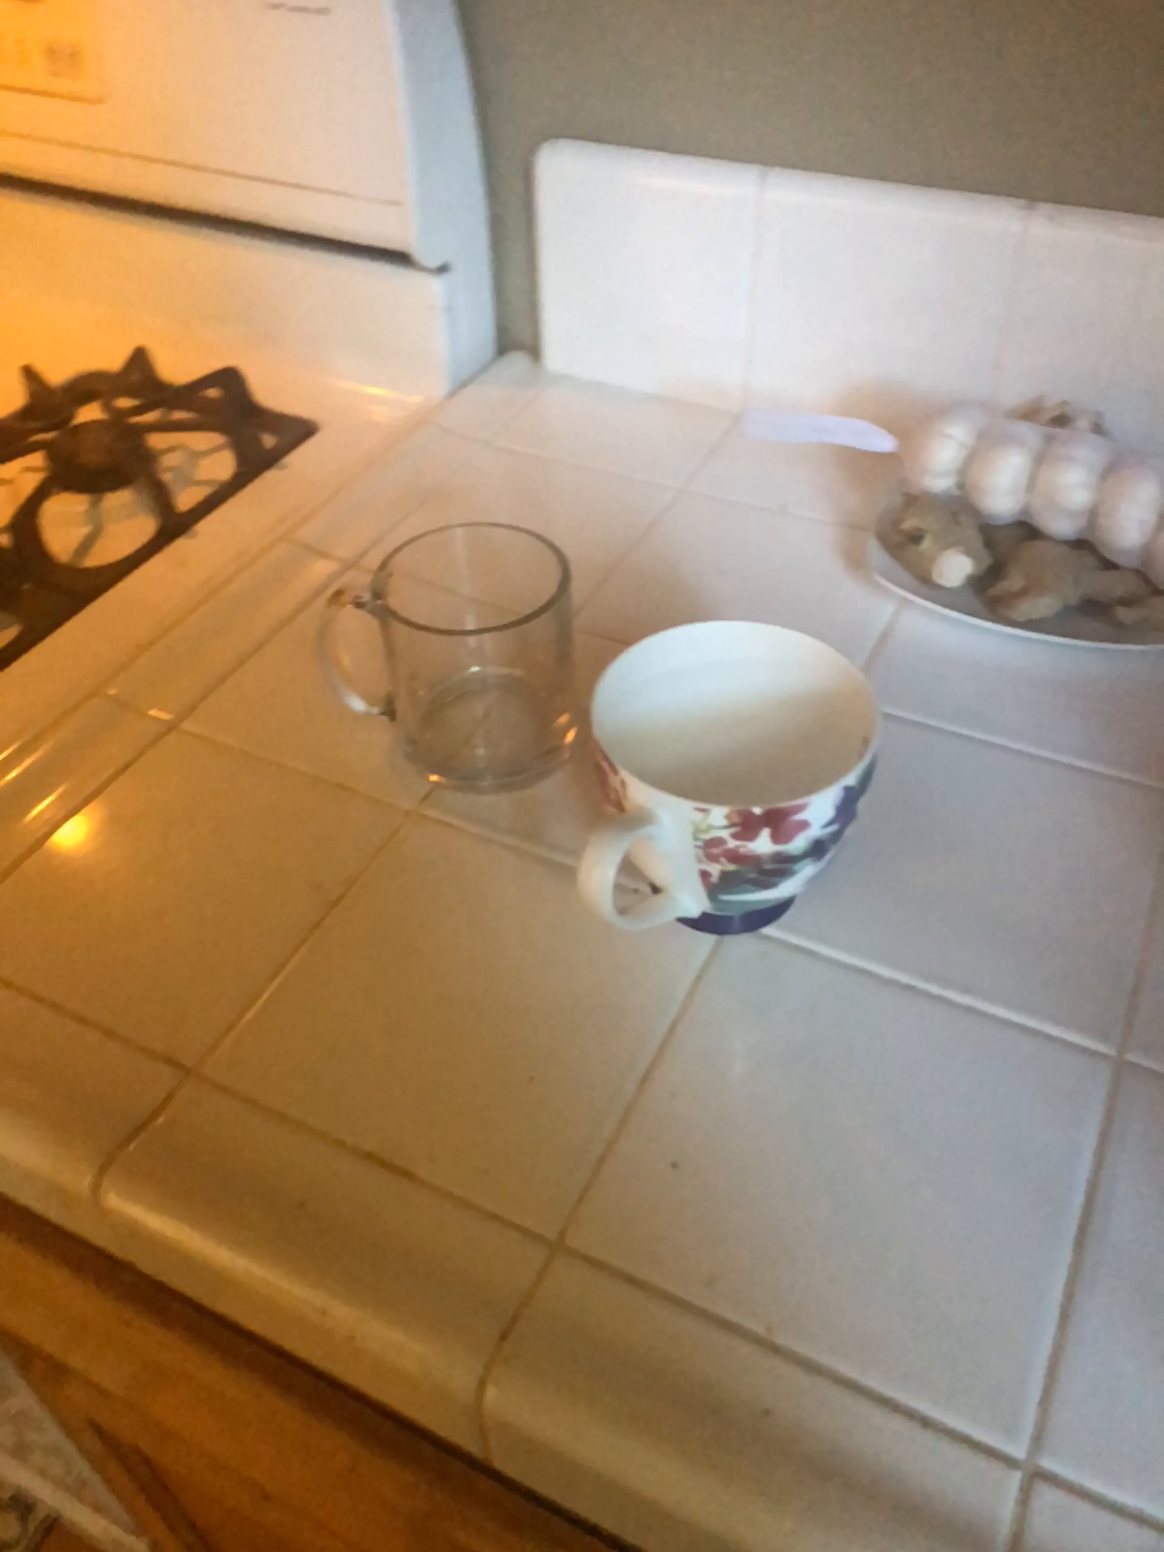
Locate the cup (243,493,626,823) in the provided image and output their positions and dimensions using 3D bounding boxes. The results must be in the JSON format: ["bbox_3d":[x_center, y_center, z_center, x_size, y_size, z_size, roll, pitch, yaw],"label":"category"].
[{"bbox_3d":[-0.057,-0.054,0.560,0.130,0.079,0.101,11,45,14],"label":"cup"}]

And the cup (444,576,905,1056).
[{"bbox_3d":[0.038,0.008,0.488,0.110,0.079,0.141,23,49,24],"label":"cup"}]
